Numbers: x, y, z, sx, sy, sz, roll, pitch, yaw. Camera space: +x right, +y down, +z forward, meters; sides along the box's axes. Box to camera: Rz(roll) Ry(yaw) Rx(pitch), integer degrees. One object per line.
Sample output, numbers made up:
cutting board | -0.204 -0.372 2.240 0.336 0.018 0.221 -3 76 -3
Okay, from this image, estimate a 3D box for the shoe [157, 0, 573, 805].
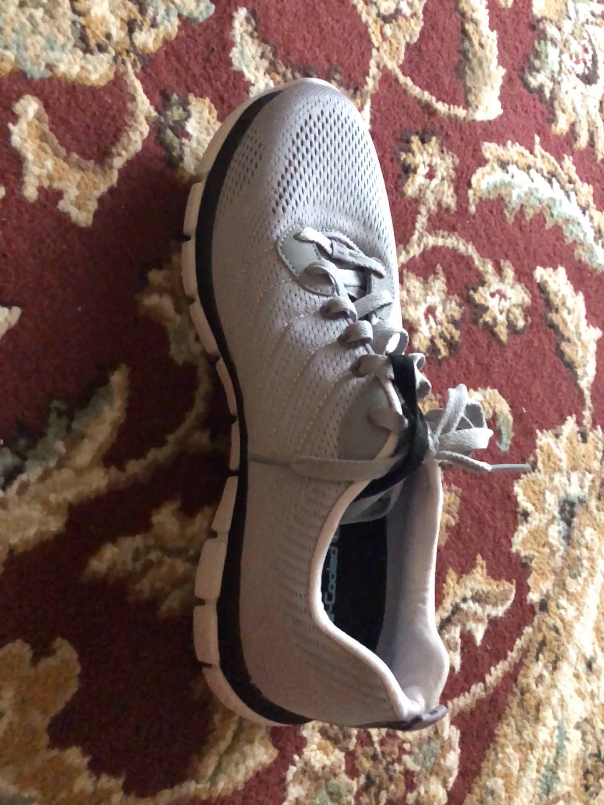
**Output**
shoe | 0.019 -0.010 0.283 0.100 0.130 0.300 8 78 -32
